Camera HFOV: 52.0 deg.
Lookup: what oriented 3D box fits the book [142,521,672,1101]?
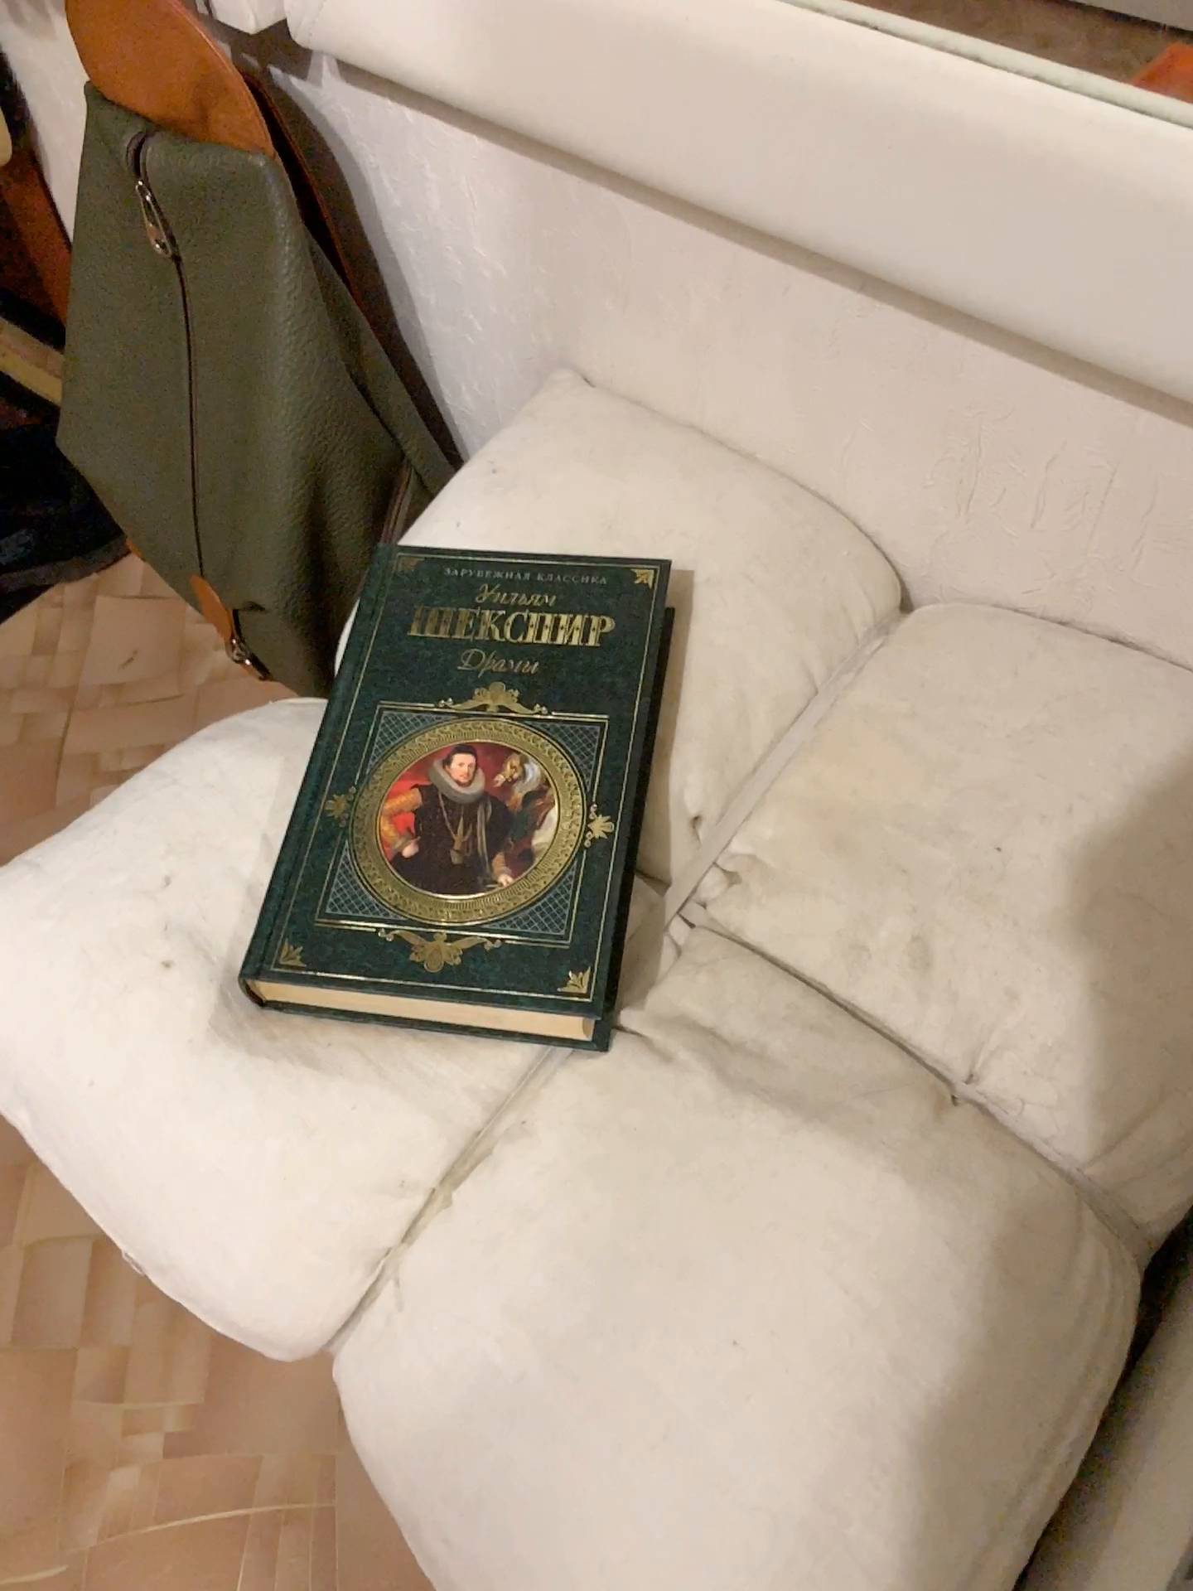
[{"bbox_3d":[-0.060,-0.006,0.474,0.150,0.040,0.221,6,59,9],"label":"book"}]
